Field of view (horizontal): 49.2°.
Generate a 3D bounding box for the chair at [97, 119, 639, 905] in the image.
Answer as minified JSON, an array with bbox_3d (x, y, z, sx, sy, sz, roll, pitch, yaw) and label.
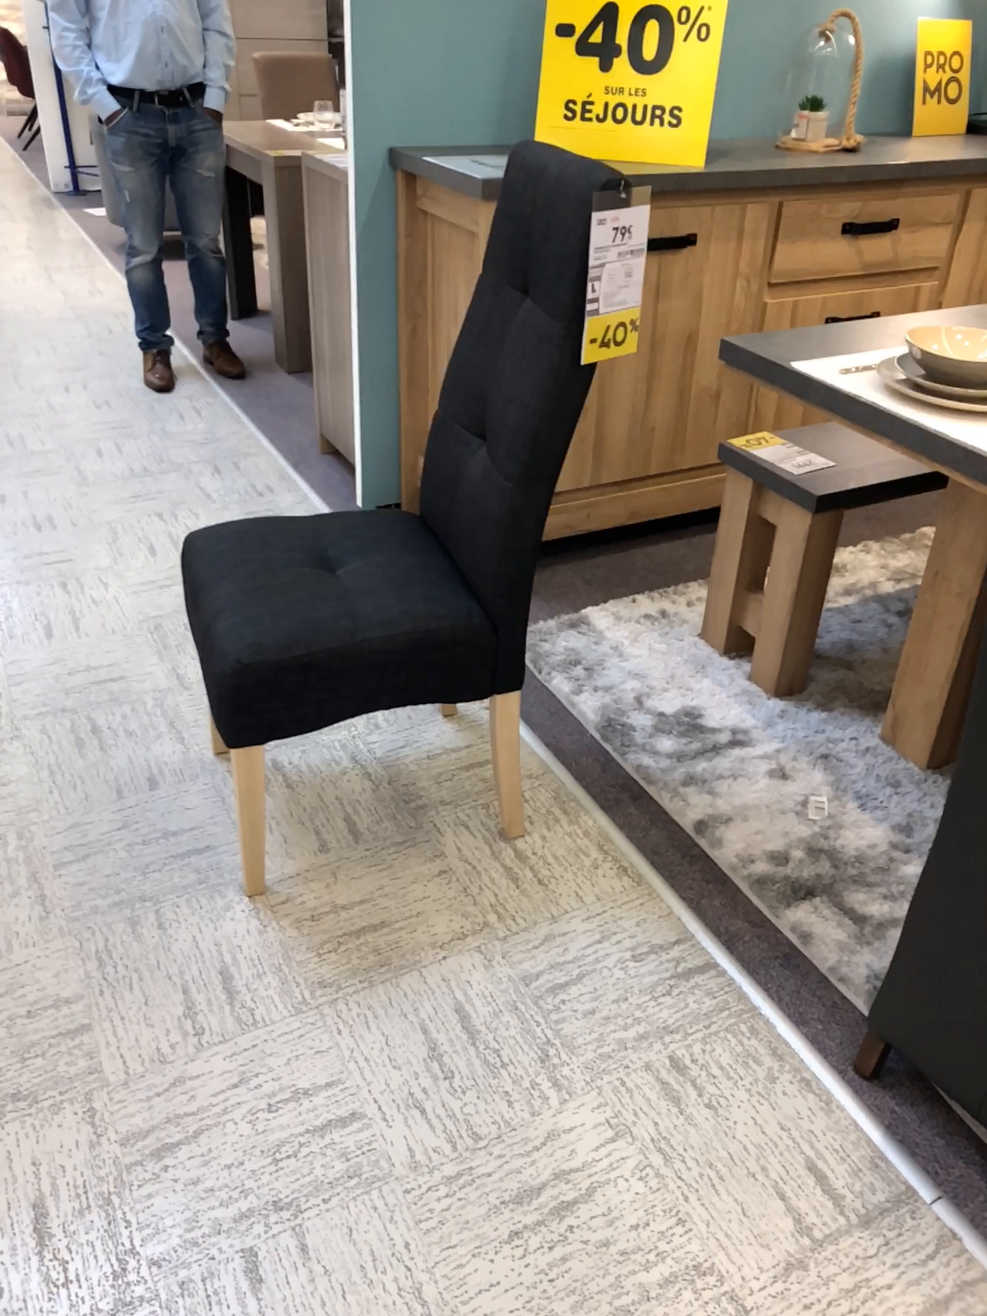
[{"bbox_3d":[-0.202,-0.232,1.684,0.601,1.043,0.482,-10,34,-18],"label":"chair"}]
